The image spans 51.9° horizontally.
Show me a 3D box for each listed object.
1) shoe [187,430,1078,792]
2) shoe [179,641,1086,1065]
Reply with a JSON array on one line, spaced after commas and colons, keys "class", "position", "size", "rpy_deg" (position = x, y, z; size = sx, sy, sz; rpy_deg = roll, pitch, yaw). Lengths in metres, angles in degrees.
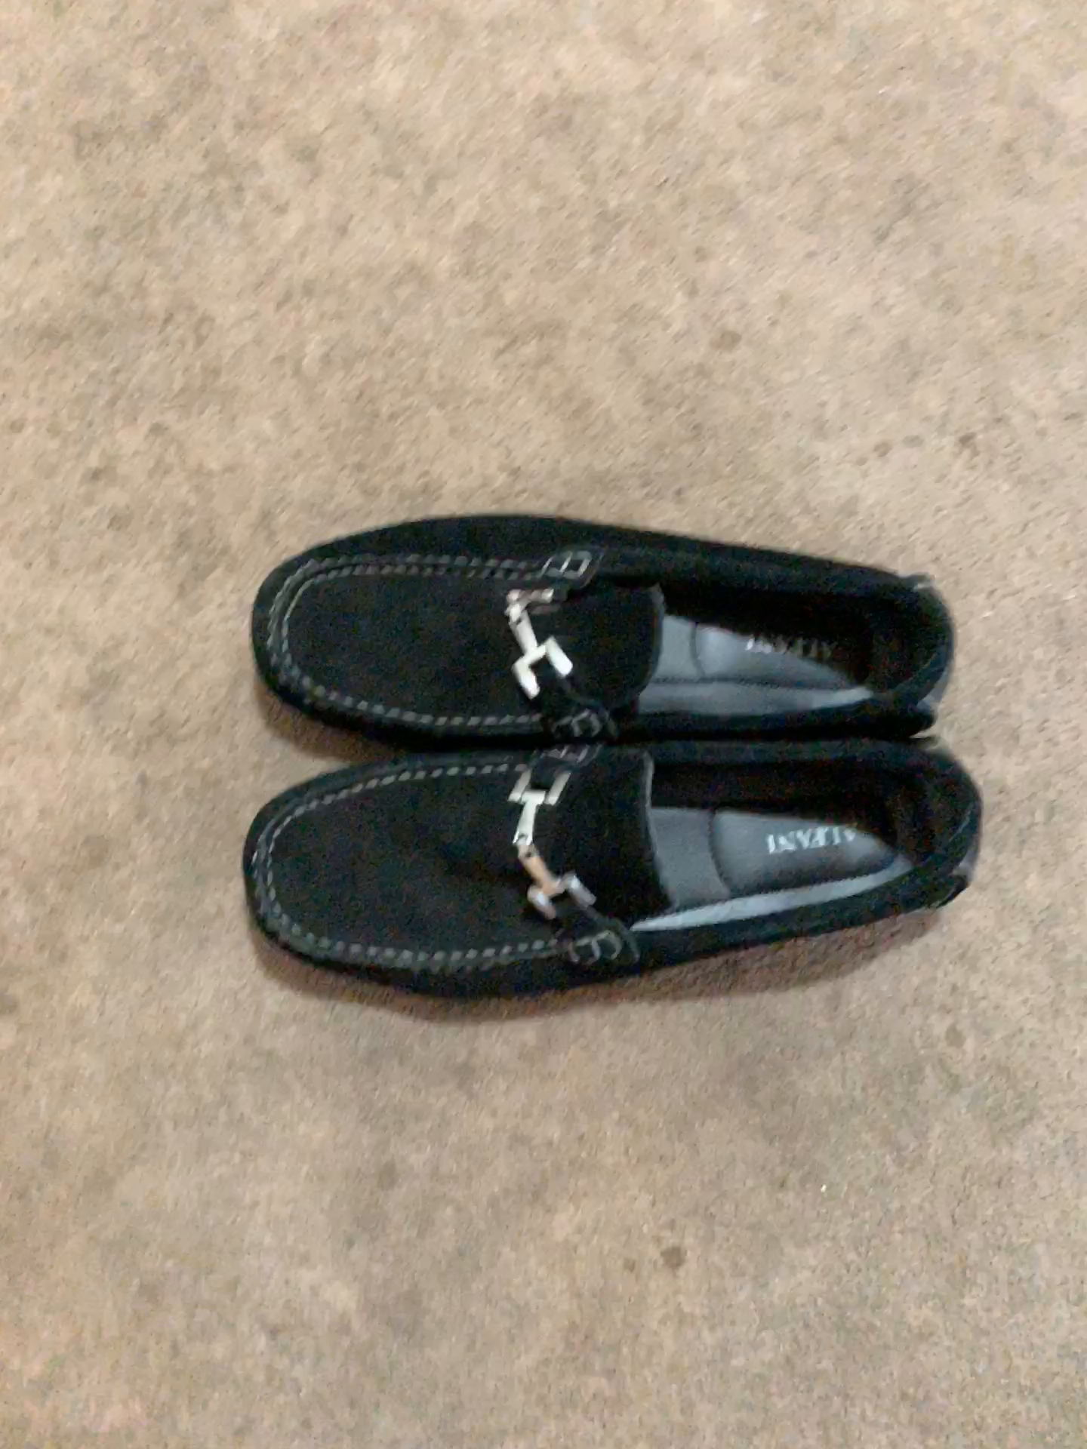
[{"class": "shoe", "position": [0.028, -0.040, 0.430], "size": [0.300, 0.100, 0.100], "rpy_deg": [-3, 78, -6]}, {"class": "shoe", "position": [0.032, 0.047, 0.419], "size": [0.300, 0.100, 0.100], "rpy_deg": [-7, 79, -7]}]
